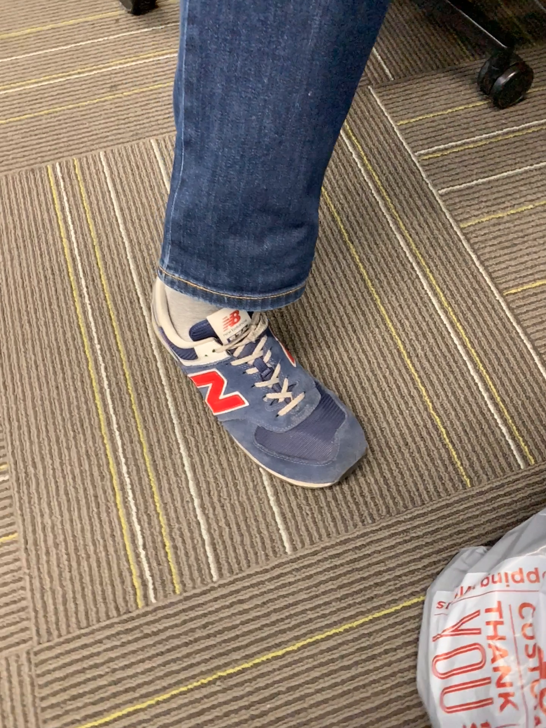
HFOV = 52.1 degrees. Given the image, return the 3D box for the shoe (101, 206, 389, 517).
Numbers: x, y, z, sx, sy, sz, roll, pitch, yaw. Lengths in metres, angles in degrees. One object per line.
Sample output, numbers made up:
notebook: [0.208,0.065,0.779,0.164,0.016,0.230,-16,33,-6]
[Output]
shoe: [-0.036,-0.003,0.599,0.108,0.139,0.307,-38,70,-16]
